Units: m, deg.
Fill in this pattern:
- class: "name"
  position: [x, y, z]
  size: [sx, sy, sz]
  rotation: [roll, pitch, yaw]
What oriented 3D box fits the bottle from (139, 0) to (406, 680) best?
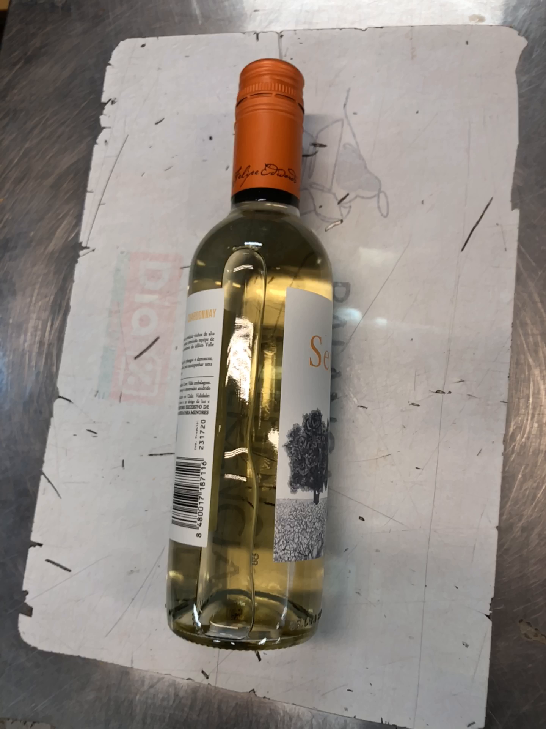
- class: "bottle"
  position: [-0.001, -0.026, 0.256]
  size: [0.070, 0.070, 0.270]
  rotation: [7, 83, -8]
